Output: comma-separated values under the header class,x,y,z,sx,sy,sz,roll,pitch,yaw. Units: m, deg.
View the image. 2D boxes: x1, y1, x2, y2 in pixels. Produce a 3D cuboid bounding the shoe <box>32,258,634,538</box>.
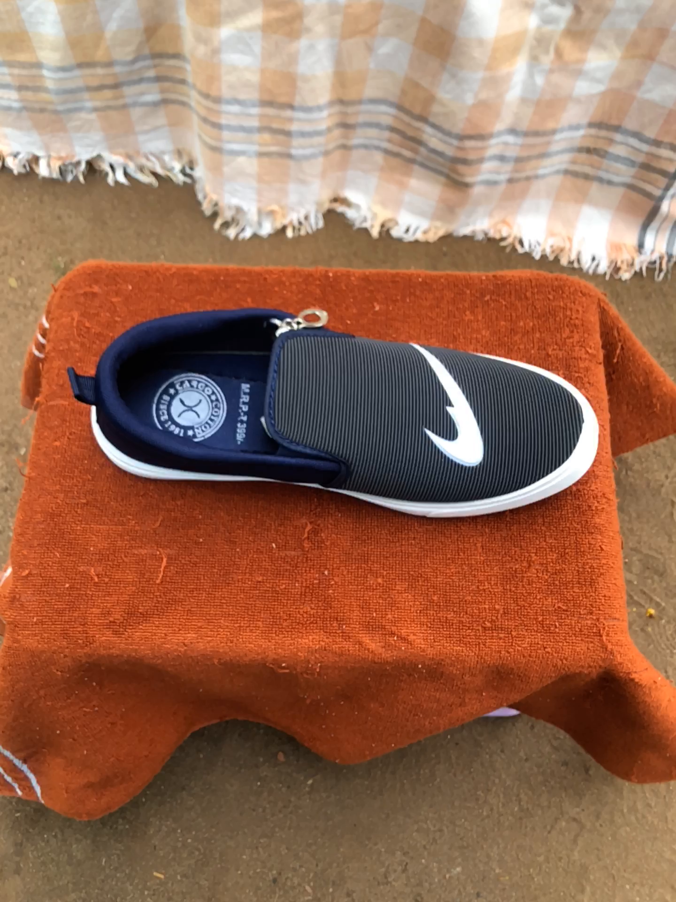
class,x,y,z,sx,sy,sz,roll,pitch,yaw
shoe,0.002,-0.026,0.427,0.300,0.080,0.100,7,69,-2
